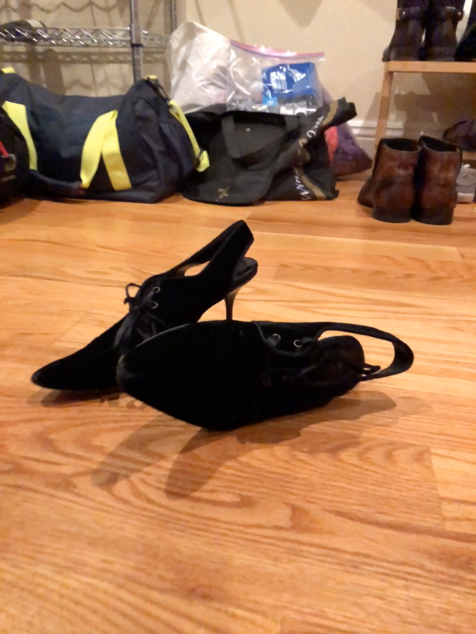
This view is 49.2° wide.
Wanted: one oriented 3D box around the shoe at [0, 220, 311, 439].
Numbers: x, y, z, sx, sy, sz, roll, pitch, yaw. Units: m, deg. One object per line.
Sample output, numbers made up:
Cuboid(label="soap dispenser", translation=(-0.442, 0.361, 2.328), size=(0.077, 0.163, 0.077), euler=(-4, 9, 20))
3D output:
Cuboid(label="shoe", translation=(-0.066, -0.006, 0.486), size=(0.252, 0.117, 0.108), euler=(-16, 29, -33))

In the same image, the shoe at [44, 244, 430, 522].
Cuboid(label="shoe", translation=(0.004, 0.027, 0.393), size=(0.252, 0.107, 0.118), euler=(-13, 27, -29))
